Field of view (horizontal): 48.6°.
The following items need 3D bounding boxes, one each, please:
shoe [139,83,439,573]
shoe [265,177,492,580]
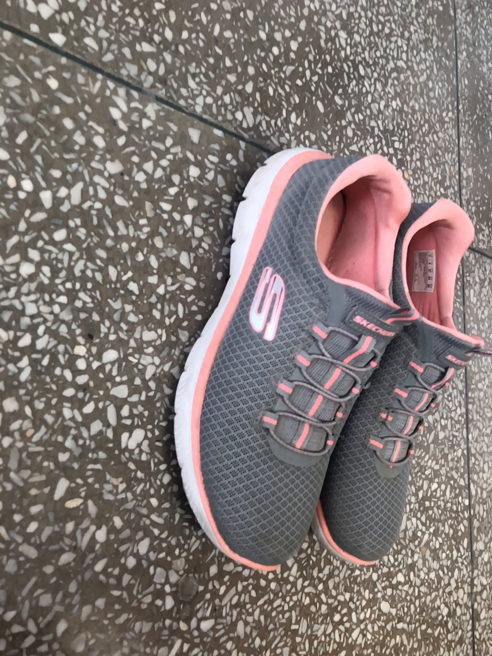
[{"bbox_3d":[0.029,0.003,0.322,0.090,0.100,0.240,21,76,-37],"label":"shoe"},{"bbox_3d":[0.101,0.034,0.370,0.090,0.100,0.230,21,76,-37],"label":"shoe"}]
